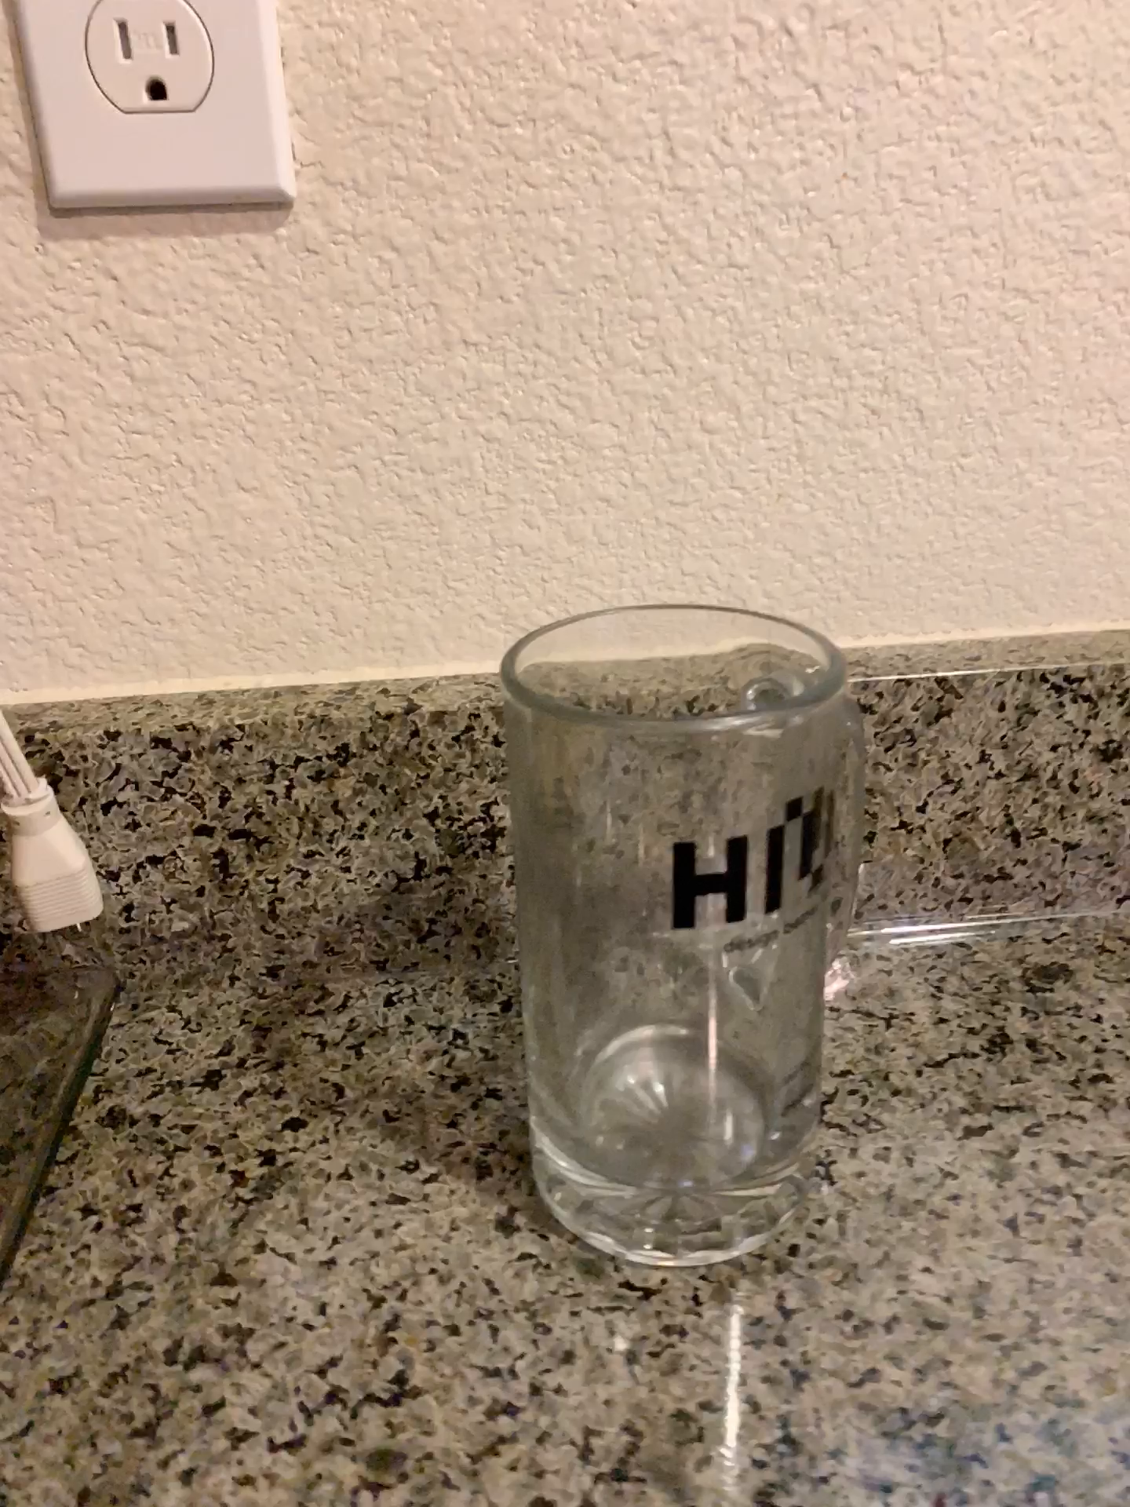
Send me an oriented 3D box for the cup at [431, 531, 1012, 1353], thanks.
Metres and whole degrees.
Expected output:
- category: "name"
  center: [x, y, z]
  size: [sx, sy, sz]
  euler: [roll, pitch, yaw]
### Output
- category: "cup"
  center: [0.043, 0.038, 0.306]
  size: [0.080, 0.159, 0.121]
  euler: [20, 32, 39]
